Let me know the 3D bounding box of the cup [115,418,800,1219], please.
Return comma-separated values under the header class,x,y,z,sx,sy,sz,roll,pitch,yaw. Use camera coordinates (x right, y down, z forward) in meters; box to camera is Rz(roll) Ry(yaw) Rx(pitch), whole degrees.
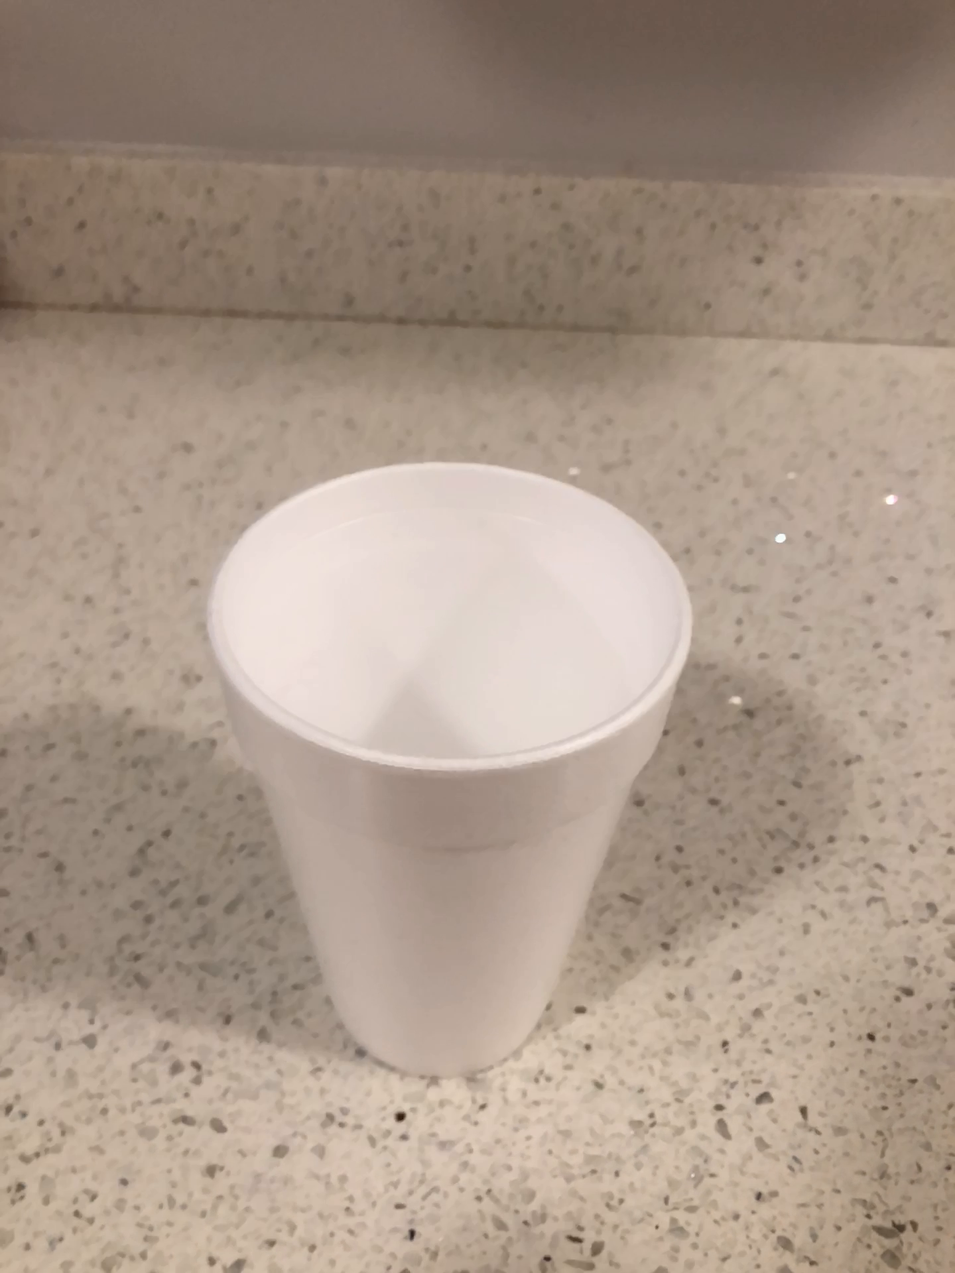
class,x,y,z,sx,sy,sz,roll,pitch,yaw
cup,-0.007,0.036,0.234,0.088,0.118,0.090,1,41,-1
